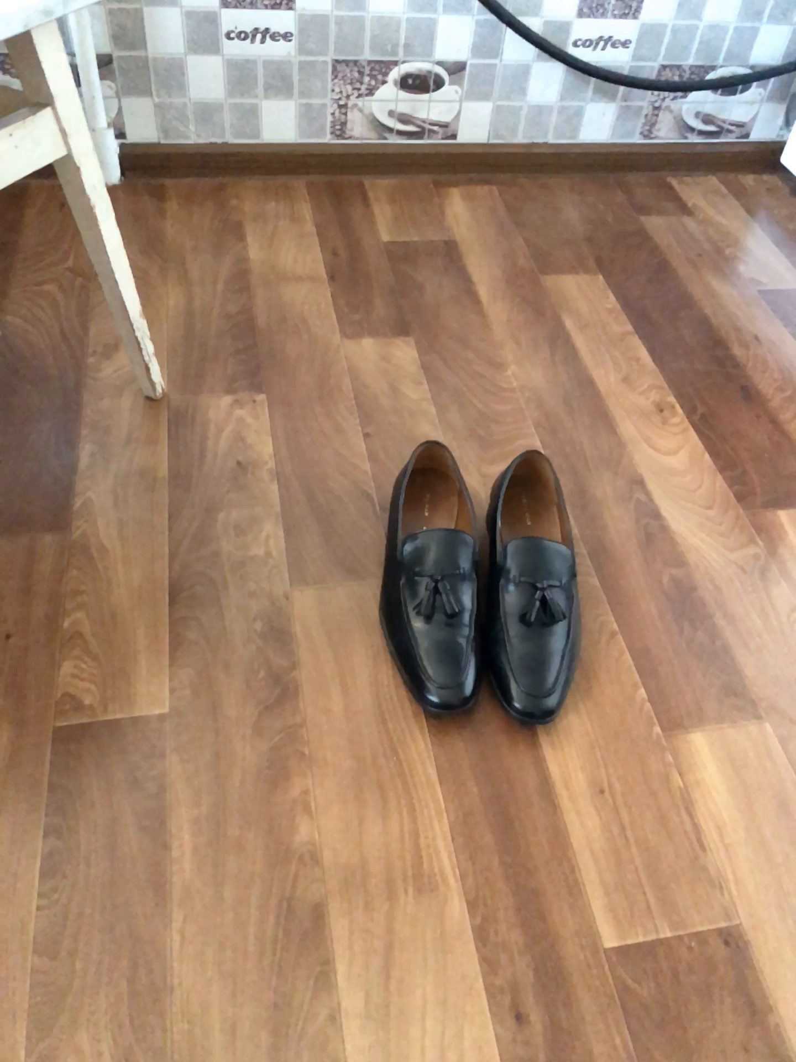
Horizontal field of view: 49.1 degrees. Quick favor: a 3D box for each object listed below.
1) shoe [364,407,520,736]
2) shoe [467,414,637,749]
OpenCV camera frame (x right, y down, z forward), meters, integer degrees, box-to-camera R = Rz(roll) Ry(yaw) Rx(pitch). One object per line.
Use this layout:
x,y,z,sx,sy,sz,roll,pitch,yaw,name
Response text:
0.029,0.028,0.824,0.110,0.119,0.302,1,48,-5,shoe
0.132,0.037,0.825,0.110,0.119,0.302,4,48,-2,shoe
